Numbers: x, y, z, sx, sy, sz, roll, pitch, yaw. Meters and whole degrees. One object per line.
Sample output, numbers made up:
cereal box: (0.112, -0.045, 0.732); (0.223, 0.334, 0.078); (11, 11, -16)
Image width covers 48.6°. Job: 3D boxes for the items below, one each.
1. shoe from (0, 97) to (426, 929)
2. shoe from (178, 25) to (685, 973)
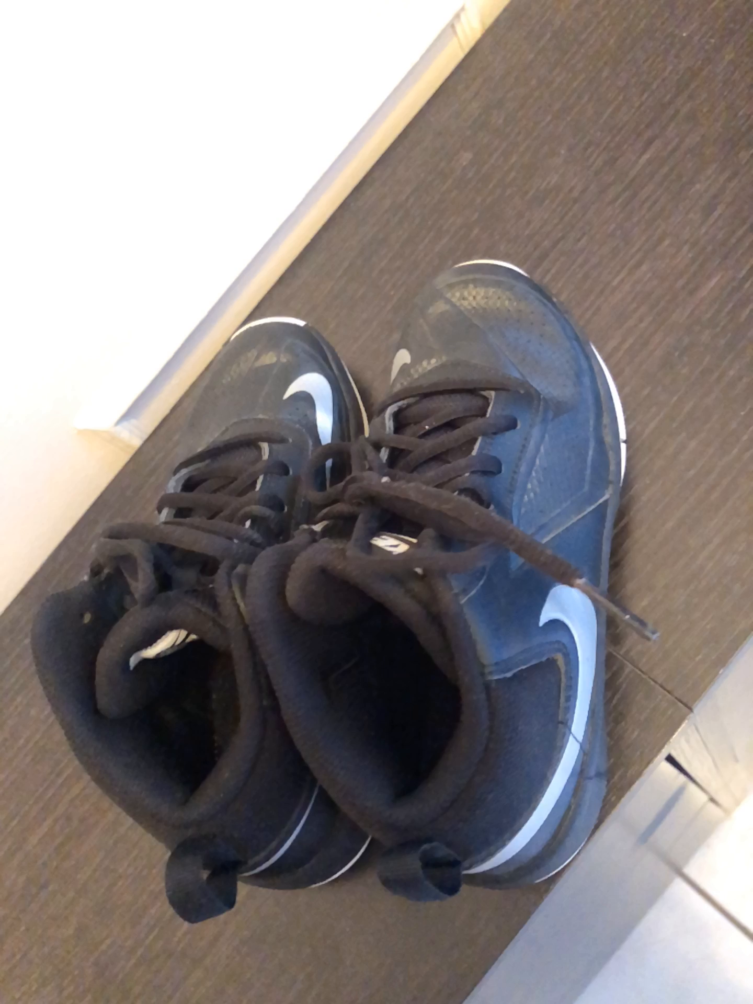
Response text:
shoe: (-0.064, 0.008, 0.315); (0.100, 0.129, 0.261); (-14, 64, 20)
shoe: (0.028, 0.002, 0.278); (0.100, 0.129, 0.251); (-9, 66, 23)
